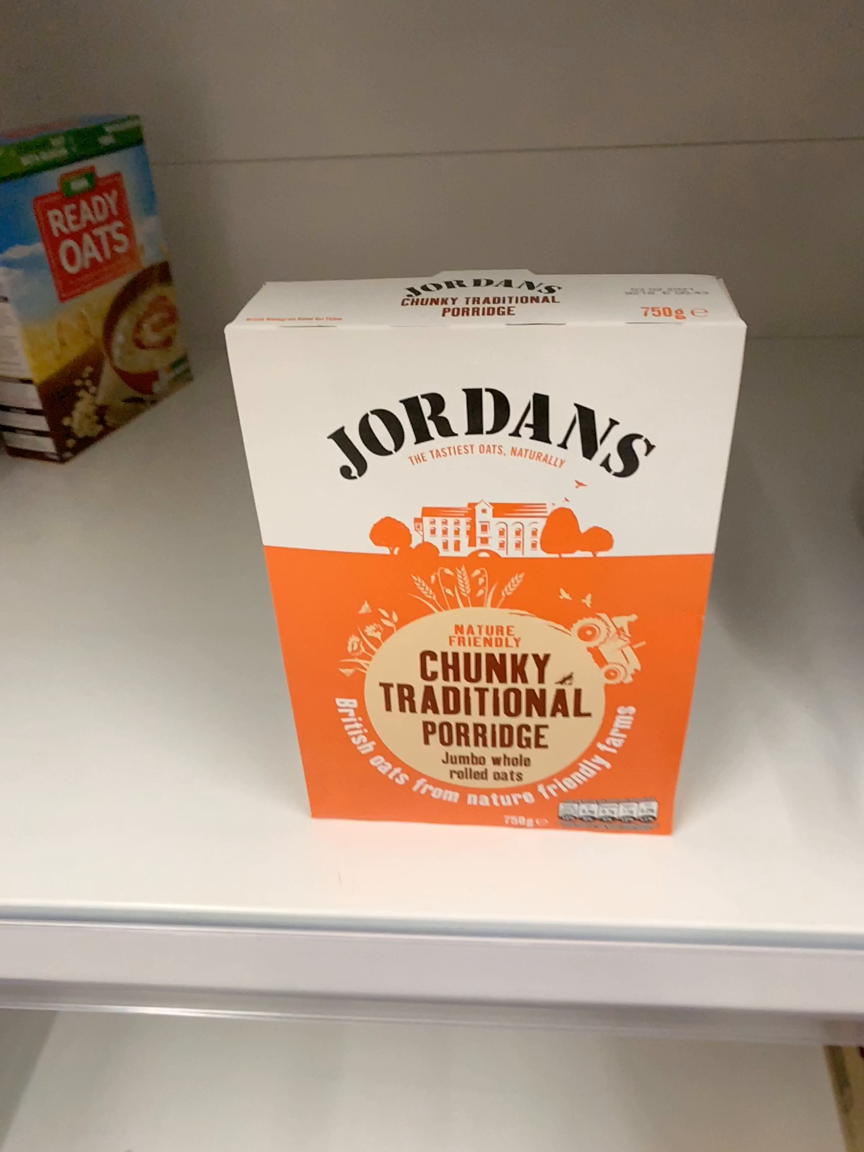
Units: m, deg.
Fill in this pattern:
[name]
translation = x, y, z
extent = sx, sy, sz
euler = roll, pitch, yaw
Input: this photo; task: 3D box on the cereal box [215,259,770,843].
[cereal box]
translation = 0.027, 0.004, 0.404
extent = 0.190, 0.267, 0.061
euler = 1, 34, 6
